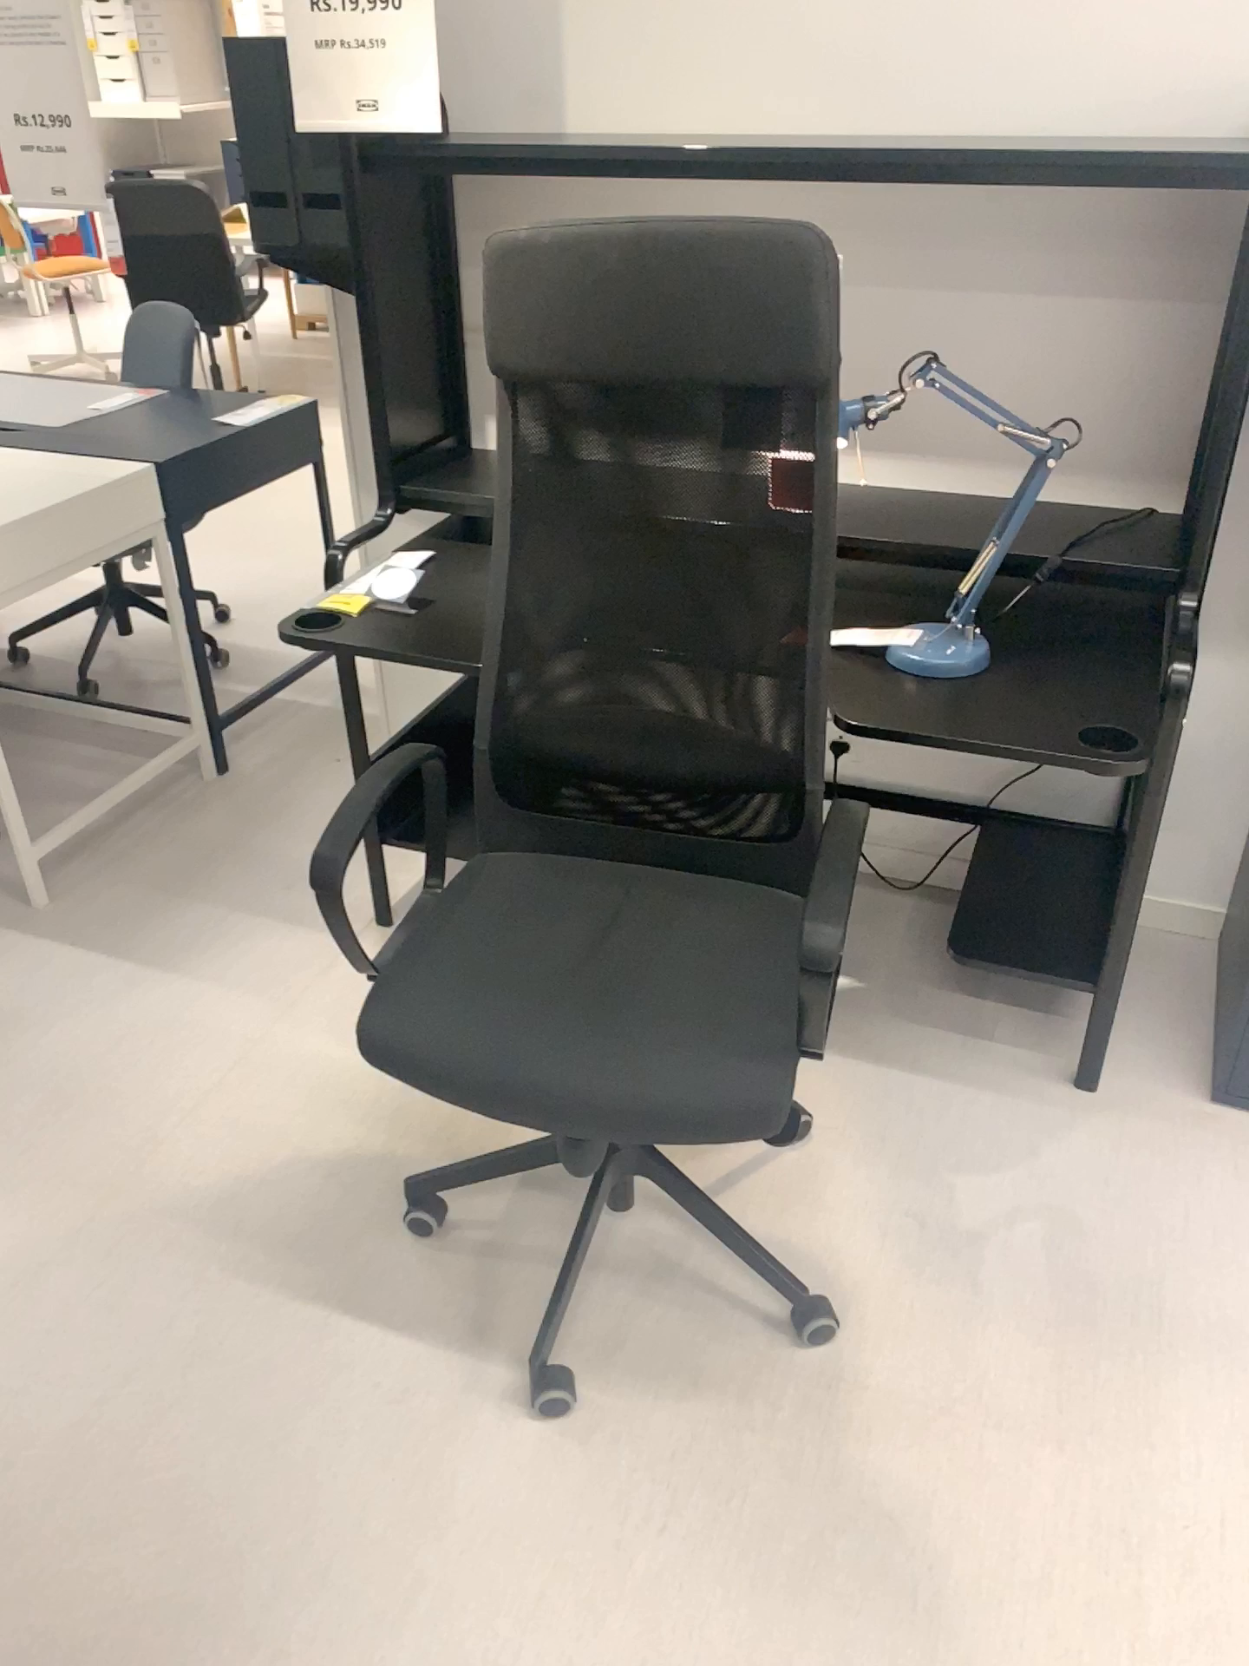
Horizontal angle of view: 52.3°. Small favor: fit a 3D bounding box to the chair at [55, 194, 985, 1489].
[{"bbox_3d":[-0.009,-0.017,1.487,0.640,1.245,0.713,8,32,15],"label":"chair"}]
